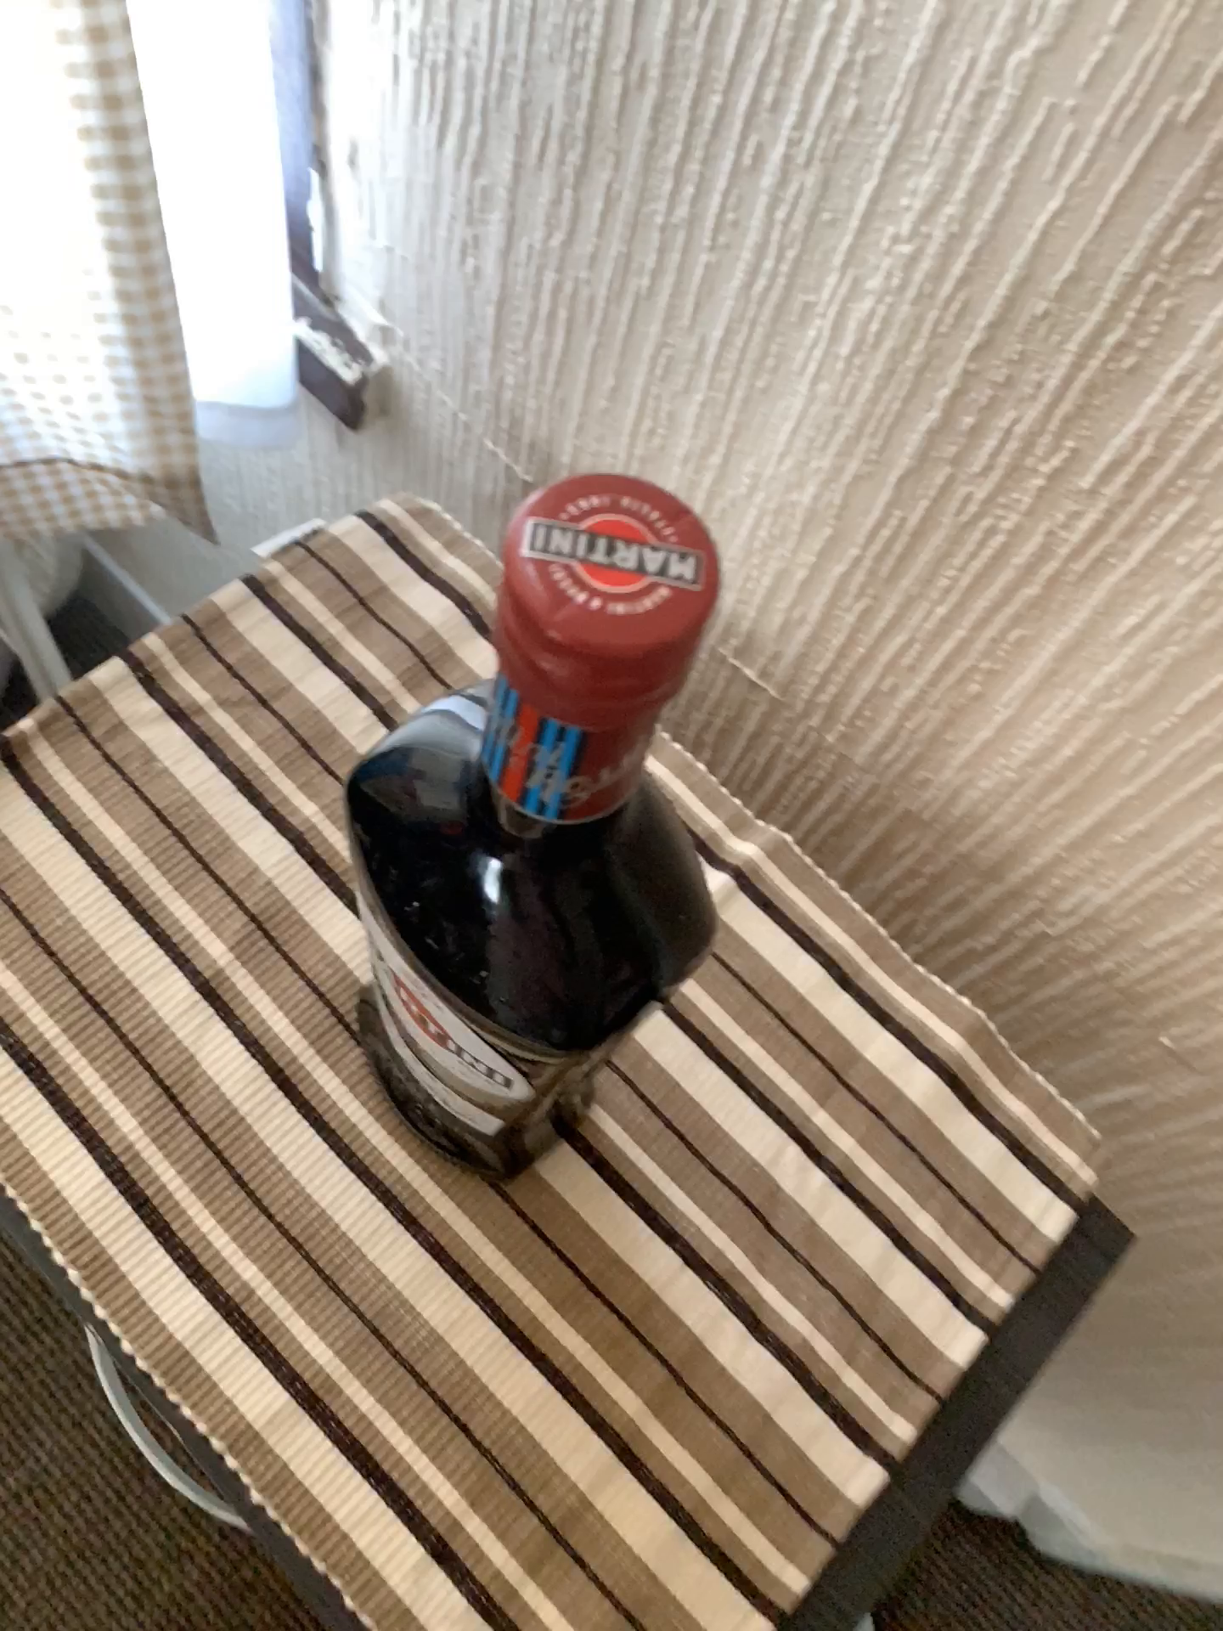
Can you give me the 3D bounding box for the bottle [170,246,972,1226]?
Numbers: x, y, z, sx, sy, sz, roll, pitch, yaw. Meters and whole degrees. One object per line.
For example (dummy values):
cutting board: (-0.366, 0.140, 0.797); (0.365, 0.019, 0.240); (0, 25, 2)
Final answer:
bottle: (-0.029, 0.026, 0.297); (0.060, 0.298, 0.090); (-39, 78, -23)
